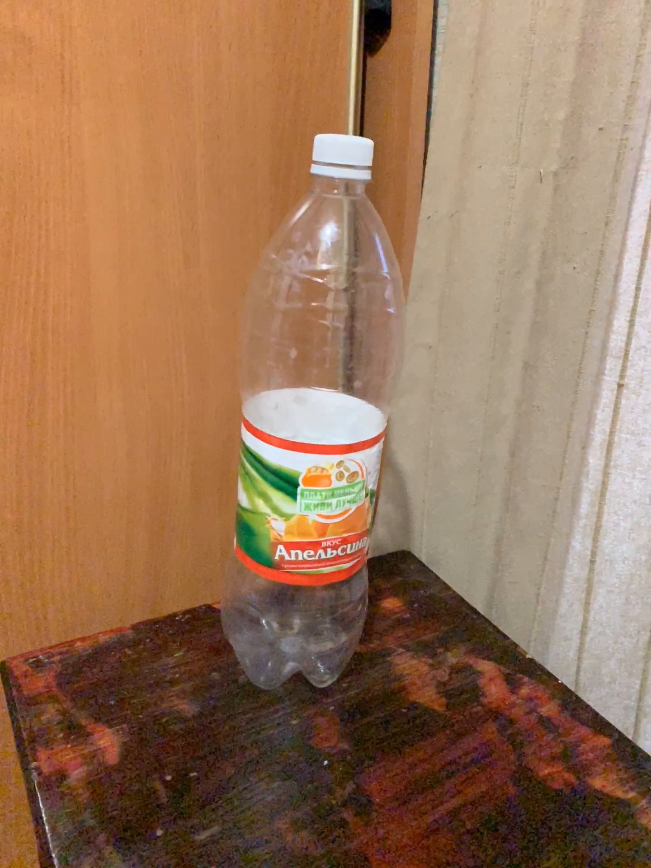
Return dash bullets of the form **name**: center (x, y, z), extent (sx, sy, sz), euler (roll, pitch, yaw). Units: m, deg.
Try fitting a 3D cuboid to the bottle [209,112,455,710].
- **bottle**: center (-0.011, -0.008, 0.394), extent (0.100, 0.318, 0.101), euler (3, 21, -1)
